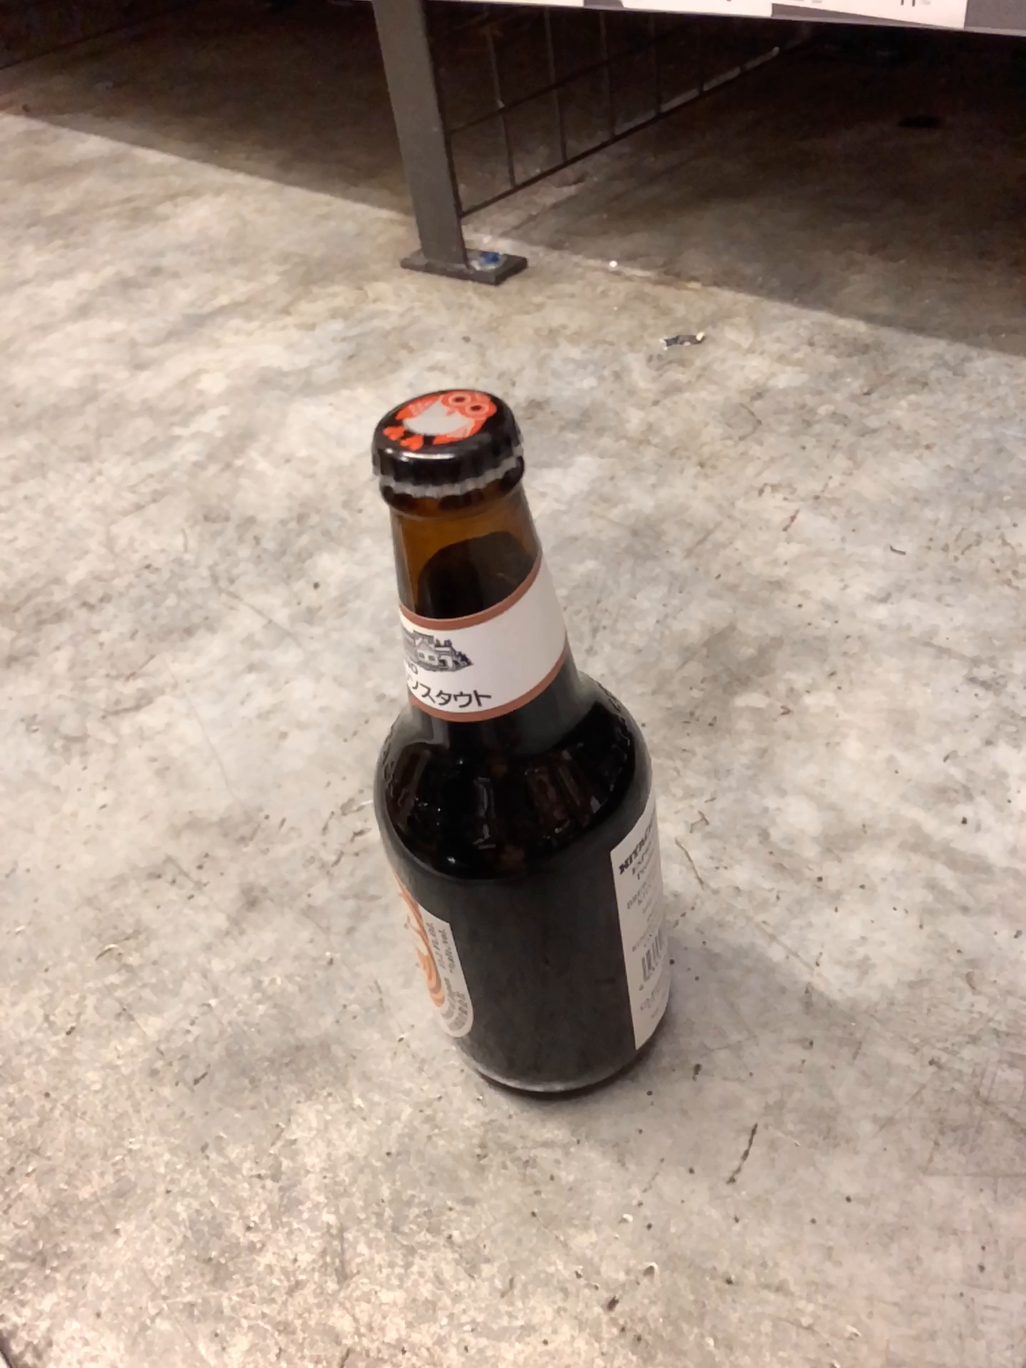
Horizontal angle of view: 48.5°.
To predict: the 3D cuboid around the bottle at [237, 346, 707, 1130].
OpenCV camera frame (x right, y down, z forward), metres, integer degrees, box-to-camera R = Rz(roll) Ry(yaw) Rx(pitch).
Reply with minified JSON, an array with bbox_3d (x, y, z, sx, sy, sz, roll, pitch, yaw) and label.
[{"bbox_3d":[0.003,0.026,0.261,0.069,0.180,0.063,-6,41,5],"label":"bottle"}]
